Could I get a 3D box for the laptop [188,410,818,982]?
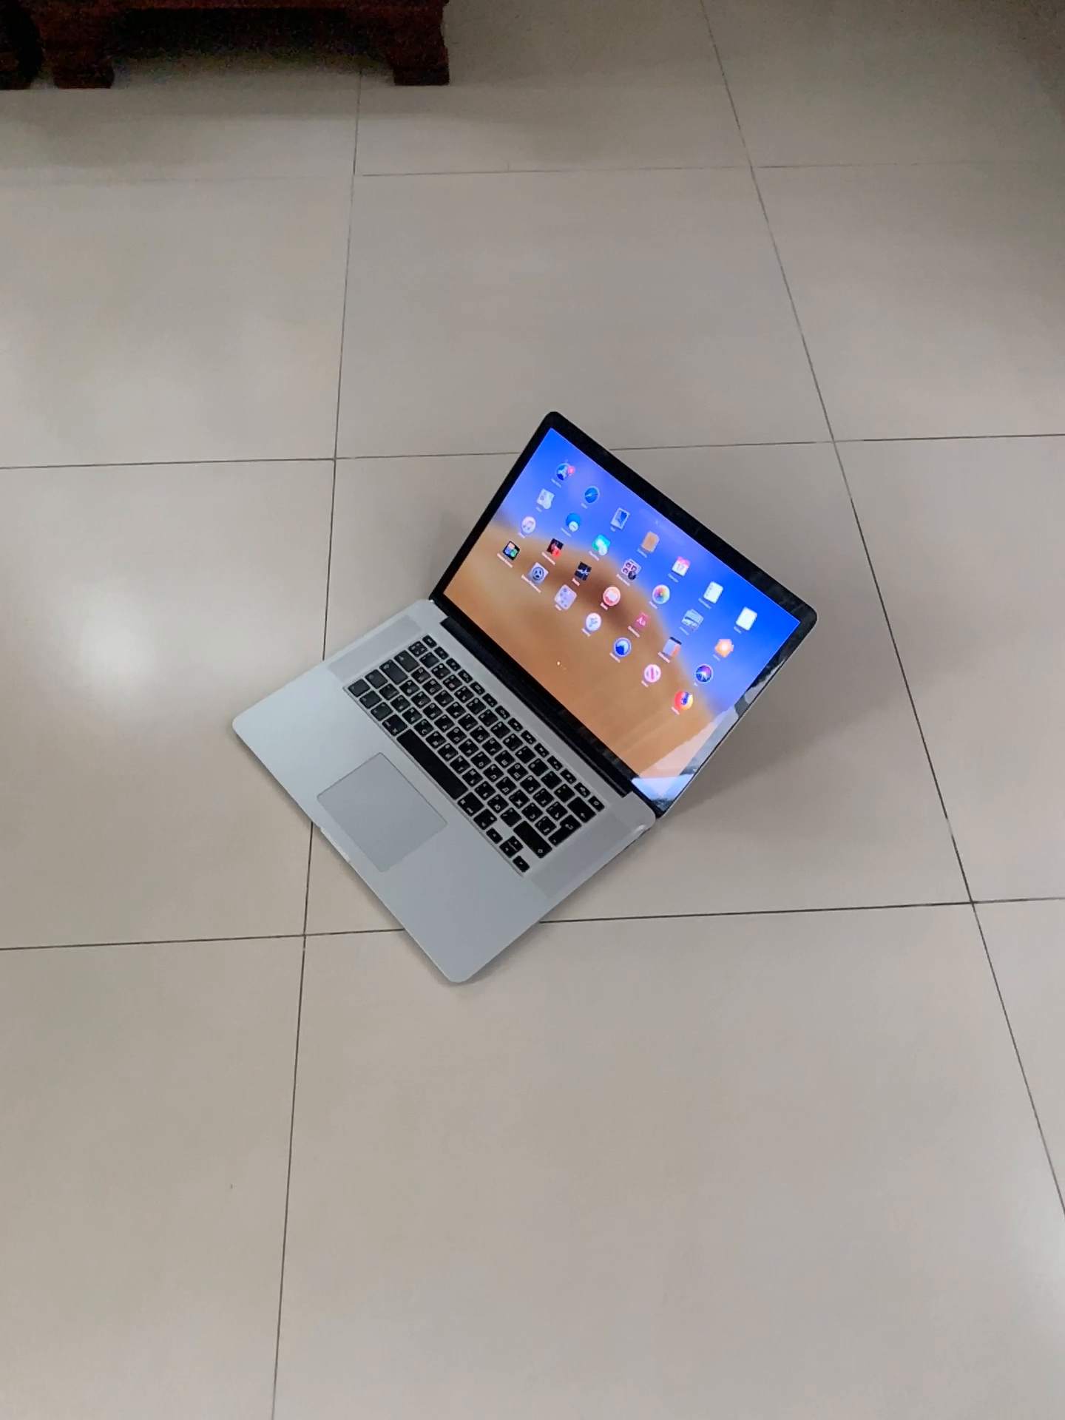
[{"bbox_3d":[-0.024,-0.035,1.013,0.415,0.162,0.352,-36,64,-23],"label":"laptop"}]
